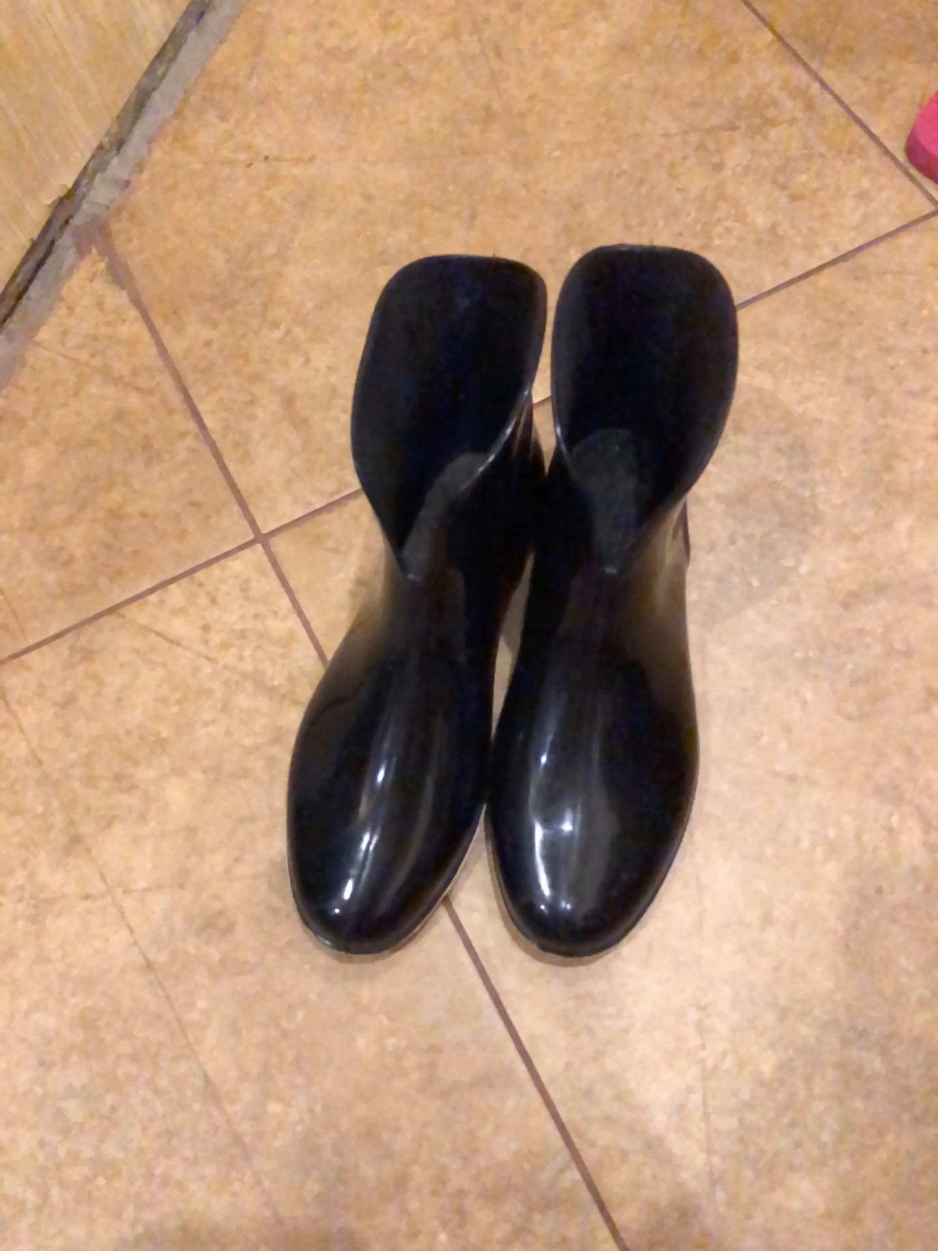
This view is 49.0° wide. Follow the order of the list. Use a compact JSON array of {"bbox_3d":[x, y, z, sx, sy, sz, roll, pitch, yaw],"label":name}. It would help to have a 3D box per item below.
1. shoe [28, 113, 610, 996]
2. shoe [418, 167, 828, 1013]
[{"bbox_3d":[-0.030,-0.010,0.430,0.110,0.229,0.281,11,68,7],"label":"shoe"},{"bbox_3d":[0.062,0.004,0.436,0.110,0.229,0.281,5,68,5],"label":"shoe"}]
